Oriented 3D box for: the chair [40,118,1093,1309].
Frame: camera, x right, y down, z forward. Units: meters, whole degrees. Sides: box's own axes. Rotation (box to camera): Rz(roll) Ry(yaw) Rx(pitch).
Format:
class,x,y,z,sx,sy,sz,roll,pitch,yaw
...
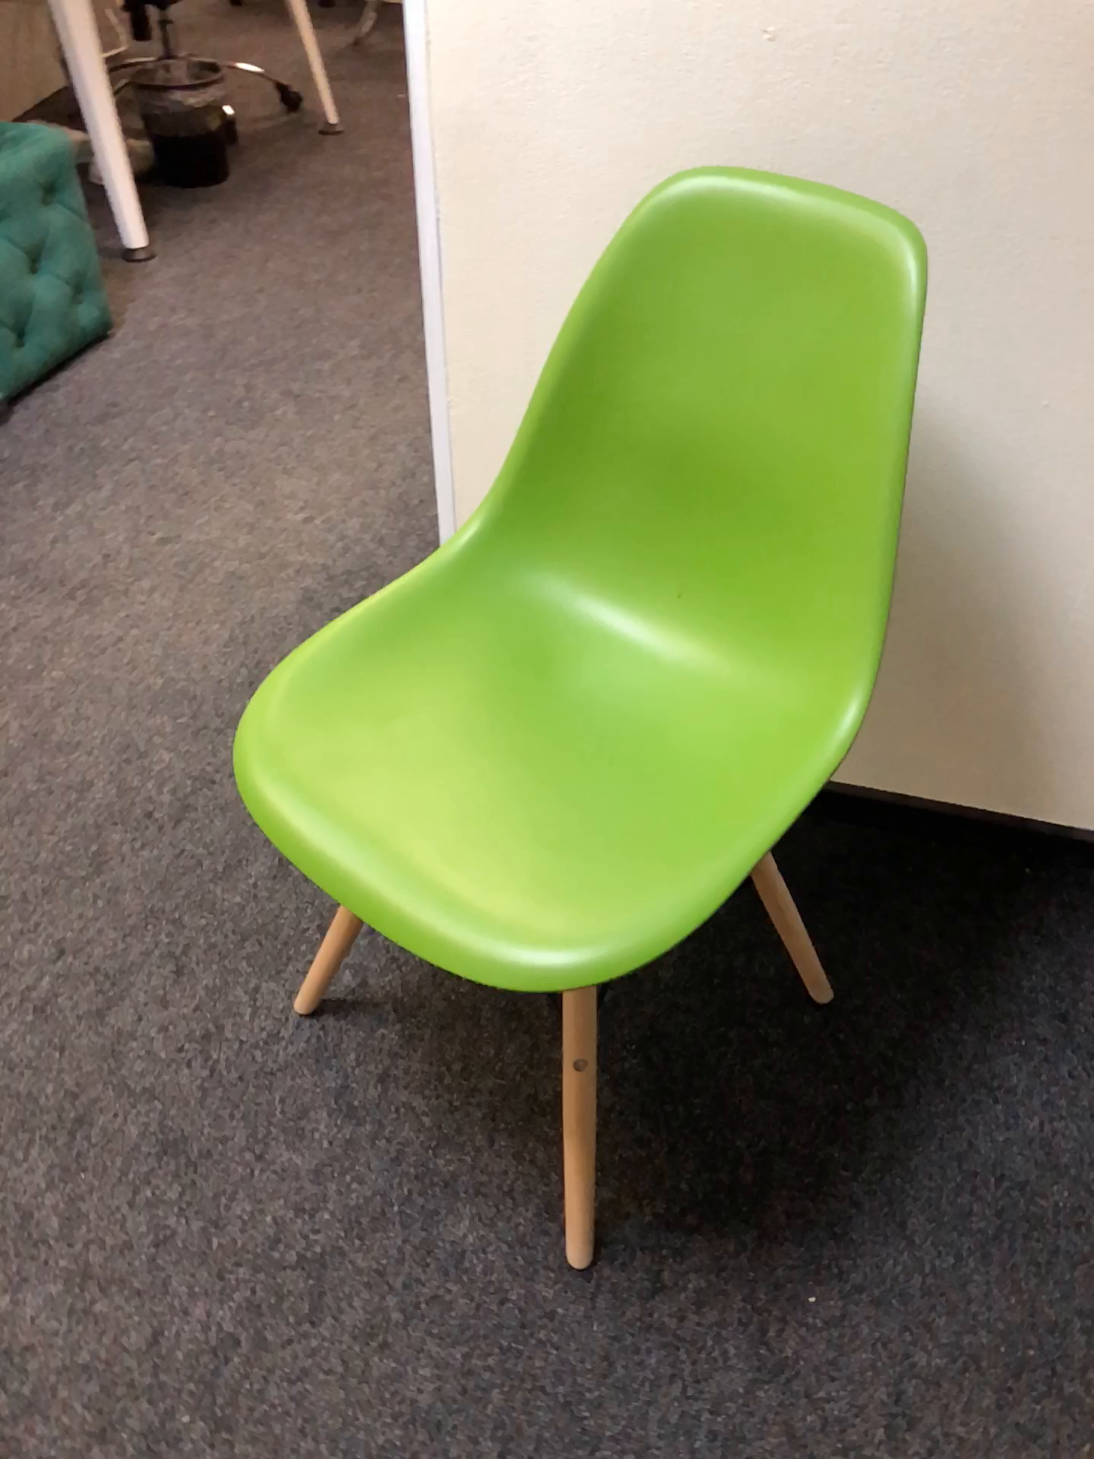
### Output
class,x,y,z,sx,sy,sz,roll,pitch,yaw
chair,0.050,-0.036,1.034,0.481,0.705,0.582,33,51,31
